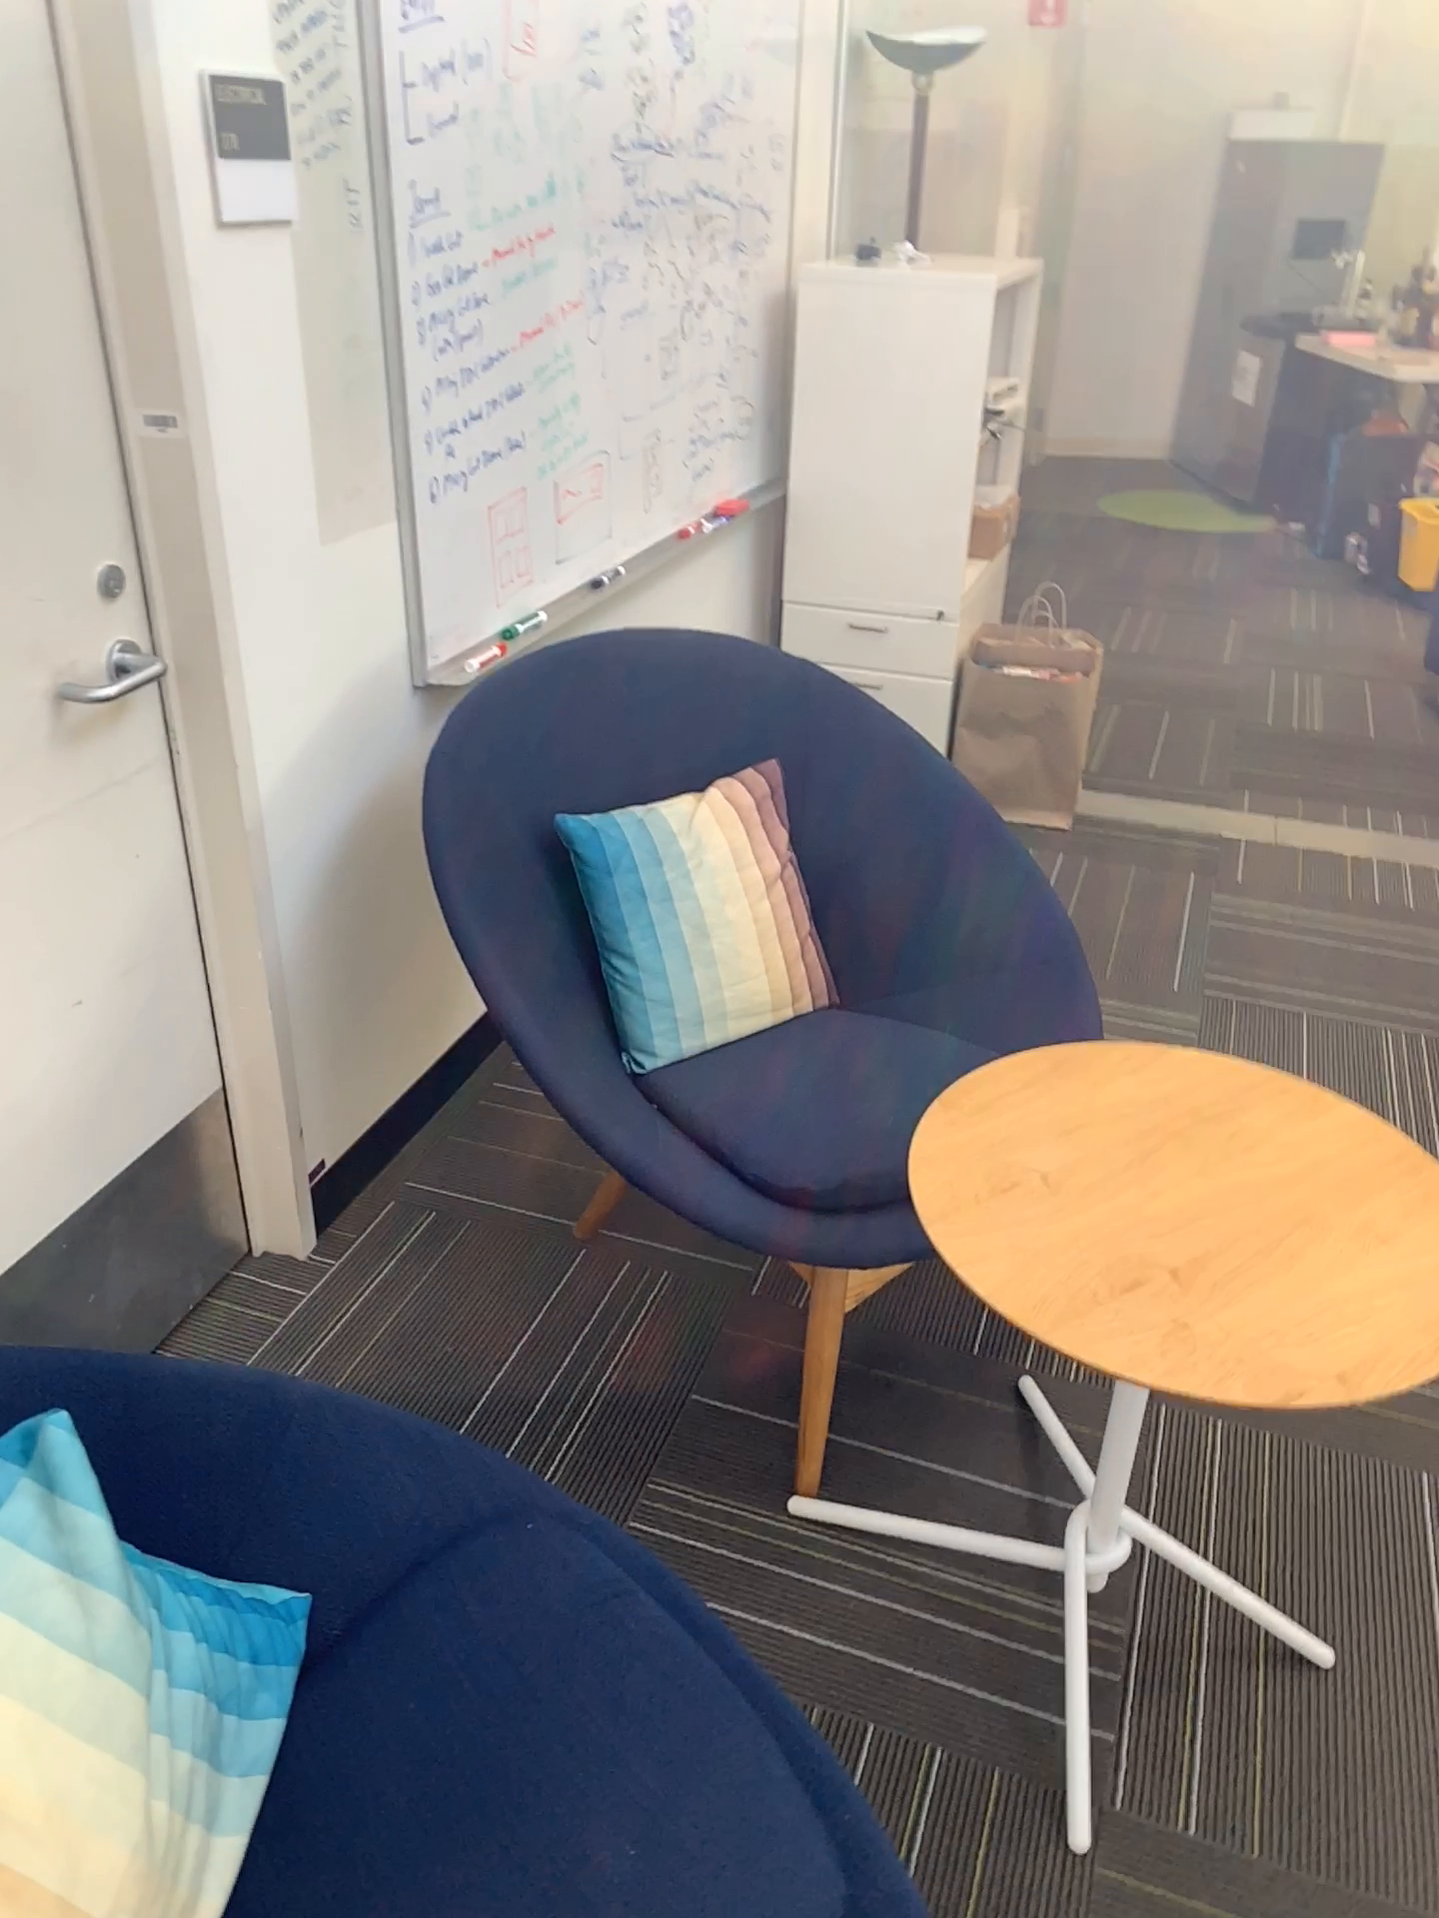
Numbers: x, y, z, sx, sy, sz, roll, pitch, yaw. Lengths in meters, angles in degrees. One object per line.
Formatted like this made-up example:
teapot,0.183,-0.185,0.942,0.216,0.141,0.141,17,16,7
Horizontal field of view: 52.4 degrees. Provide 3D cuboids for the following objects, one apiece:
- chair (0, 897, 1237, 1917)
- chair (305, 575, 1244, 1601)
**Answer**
chair,-0.328,0.582,0.985,0.841,0.835,0.794,-17,33,-30
chair,0.003,0.071,2.134,0.831,0.945,0.985,-15,33,-27
